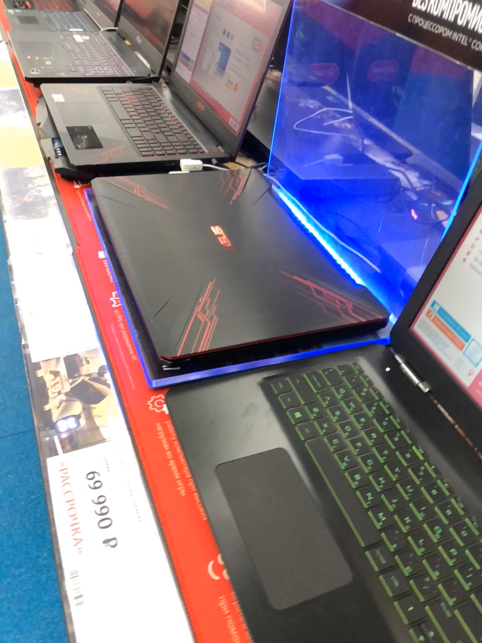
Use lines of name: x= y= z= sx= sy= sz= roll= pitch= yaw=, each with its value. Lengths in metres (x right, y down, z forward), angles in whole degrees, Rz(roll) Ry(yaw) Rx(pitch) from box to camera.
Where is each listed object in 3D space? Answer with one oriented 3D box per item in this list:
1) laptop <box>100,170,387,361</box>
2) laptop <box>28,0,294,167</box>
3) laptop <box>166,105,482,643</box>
laptop: x=-0.022 y=-0.101 z=0.665 sx=0.243 sy=0.006 sz=0.374 roll=-10 pitch=42 yaw=-20
laptop: x=-0.155 y=-0.462 z=0.891 sx=0.319 sy=0.231 sz=0.392 roll=-10 pitch=42 yaw=-22
laptop: x=0.144 y=0.060 z=0.334 sx=0.292 sy=0.242 sz=0.375 roll=-10 pitch=43 yaw=-20
